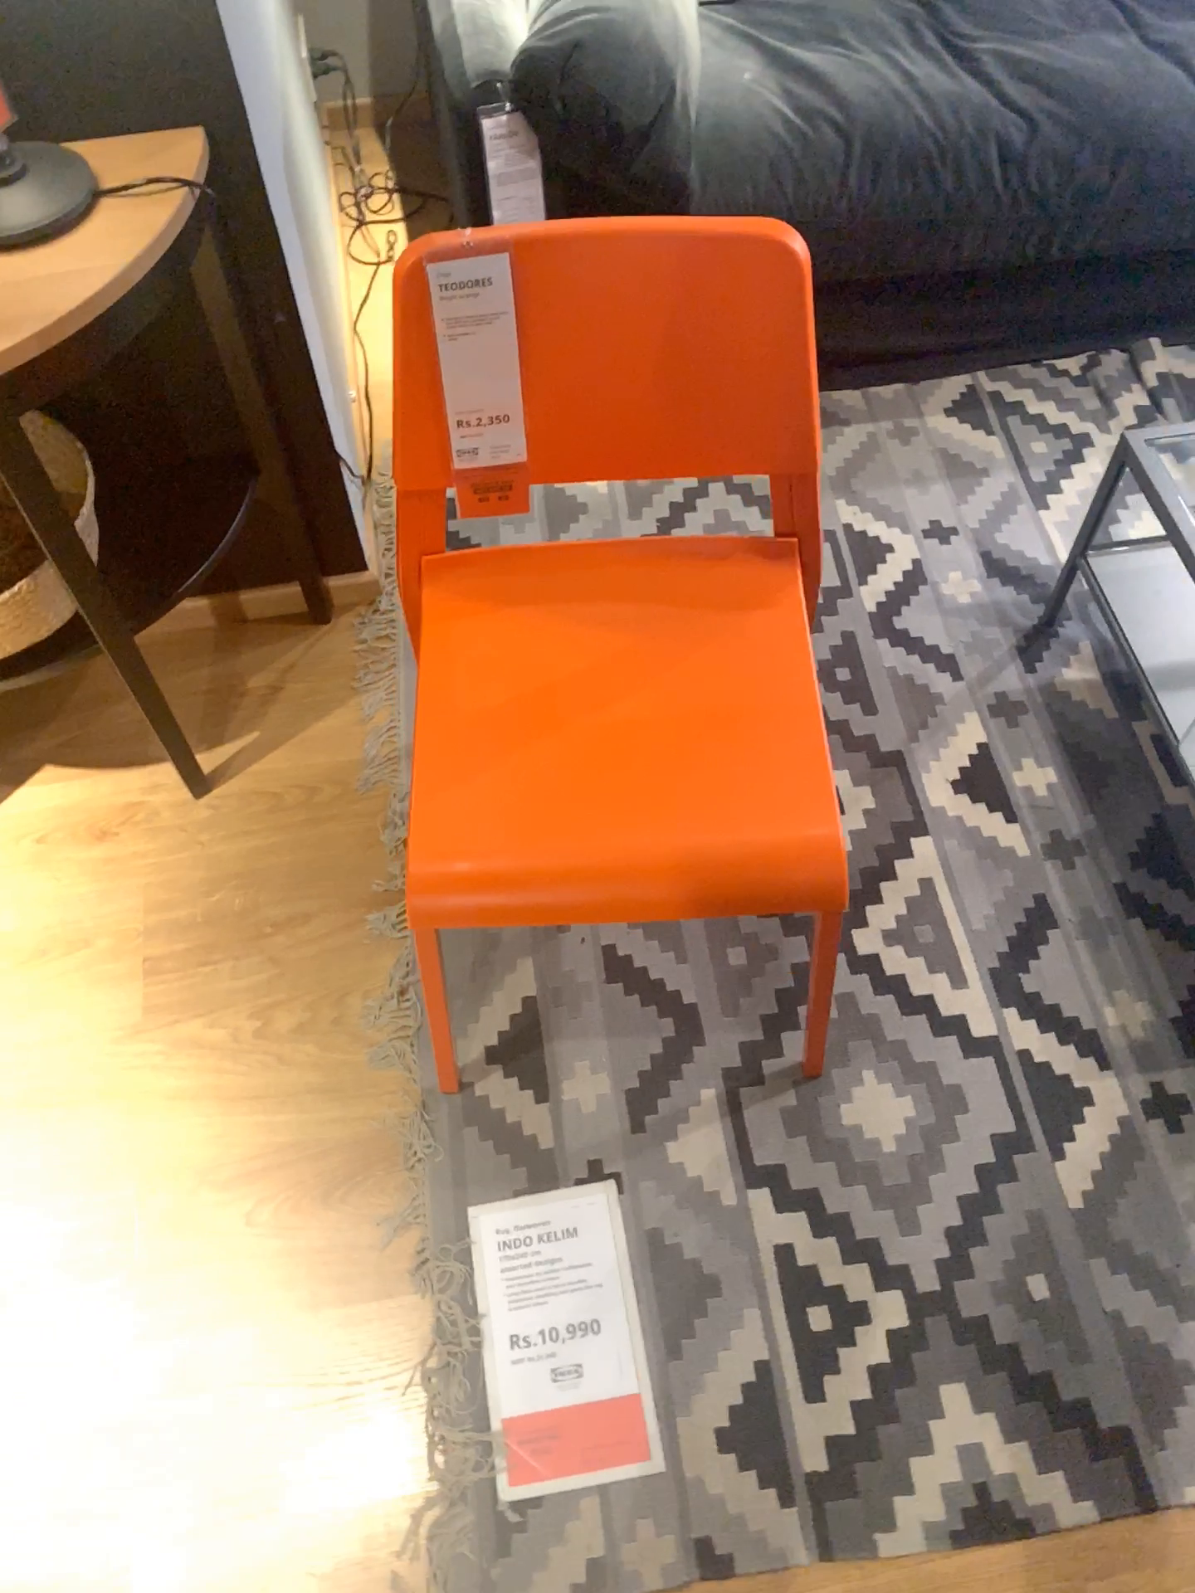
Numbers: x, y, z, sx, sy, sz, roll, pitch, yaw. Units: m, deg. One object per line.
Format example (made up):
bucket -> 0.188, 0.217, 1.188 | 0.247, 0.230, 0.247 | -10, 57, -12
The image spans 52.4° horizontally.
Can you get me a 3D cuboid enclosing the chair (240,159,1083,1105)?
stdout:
chair -> 0.033, -0.098, 1.190 | 0.510, 0.738, 0.541 | -3, 57, -1
